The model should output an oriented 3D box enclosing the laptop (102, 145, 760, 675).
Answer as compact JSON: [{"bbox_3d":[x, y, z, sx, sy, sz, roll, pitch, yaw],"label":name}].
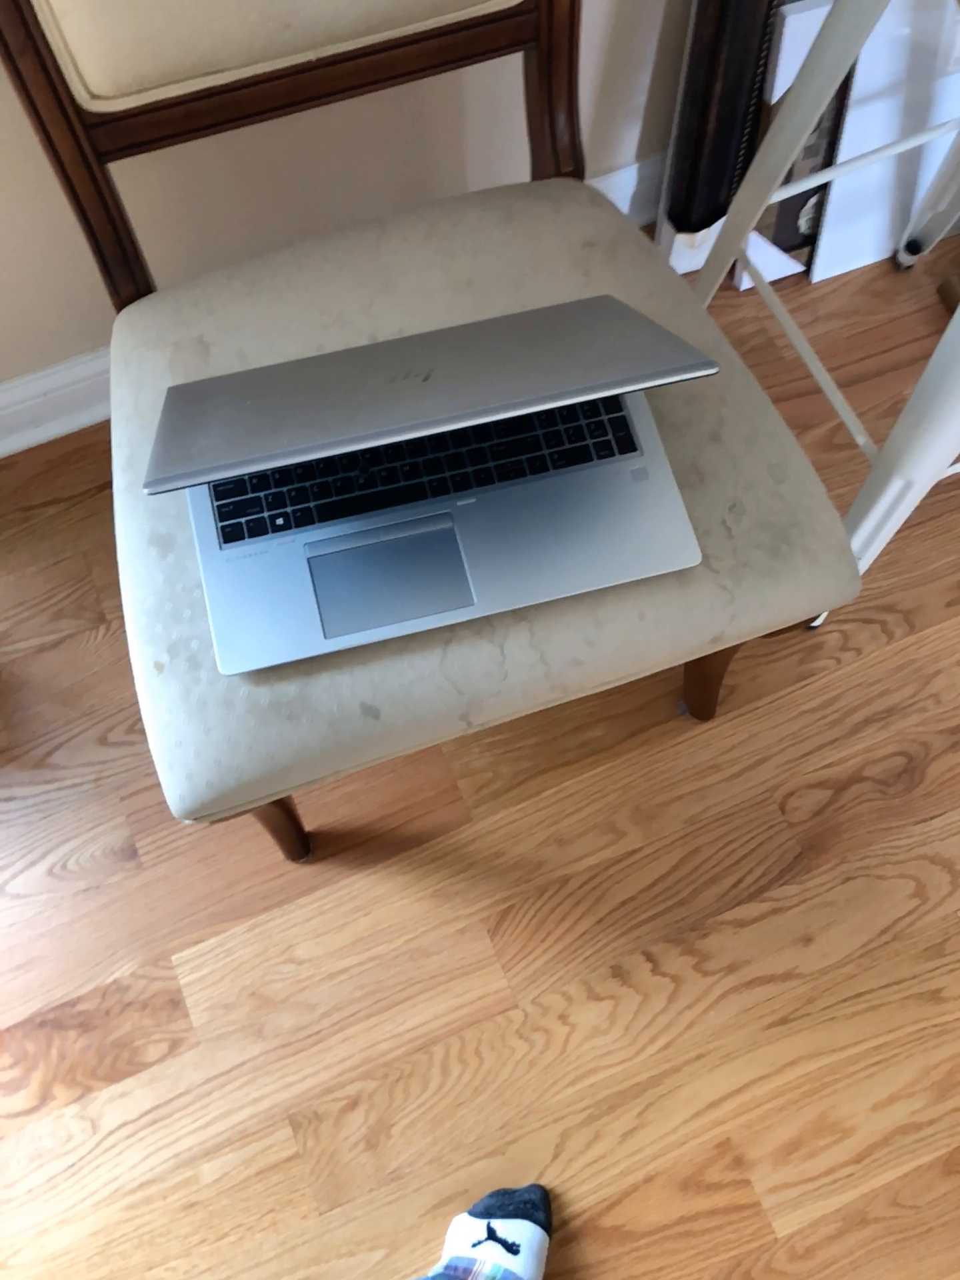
[{"bbox_3d":[-0.039,-0.156,0.739,0.365,0.159,0.244,-13,71,-5],"label":"laptop"}]
